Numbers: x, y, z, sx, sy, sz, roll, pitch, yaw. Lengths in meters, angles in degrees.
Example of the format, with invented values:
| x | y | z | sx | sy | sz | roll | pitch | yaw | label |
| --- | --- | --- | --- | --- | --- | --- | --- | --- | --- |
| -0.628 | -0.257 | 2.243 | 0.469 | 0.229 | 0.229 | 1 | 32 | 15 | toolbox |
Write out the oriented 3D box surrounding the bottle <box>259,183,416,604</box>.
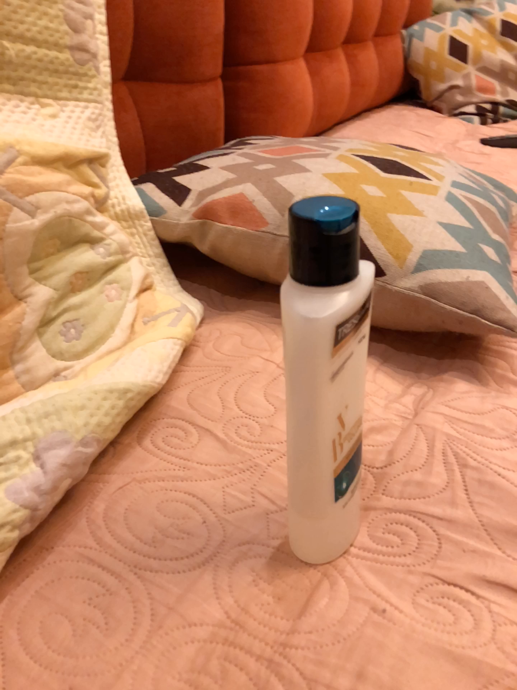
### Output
| x | y | z | sx | sy | sz | roll | pitch | yaw | label |
| --- | --- | --- | --- | --- | --- | --- | --- | --- | --- |
| 0.037 | 0.029 | 0.285 | 0.040 | 0.199 | 0.070 | 15 | 34 | 26 | bottle |
